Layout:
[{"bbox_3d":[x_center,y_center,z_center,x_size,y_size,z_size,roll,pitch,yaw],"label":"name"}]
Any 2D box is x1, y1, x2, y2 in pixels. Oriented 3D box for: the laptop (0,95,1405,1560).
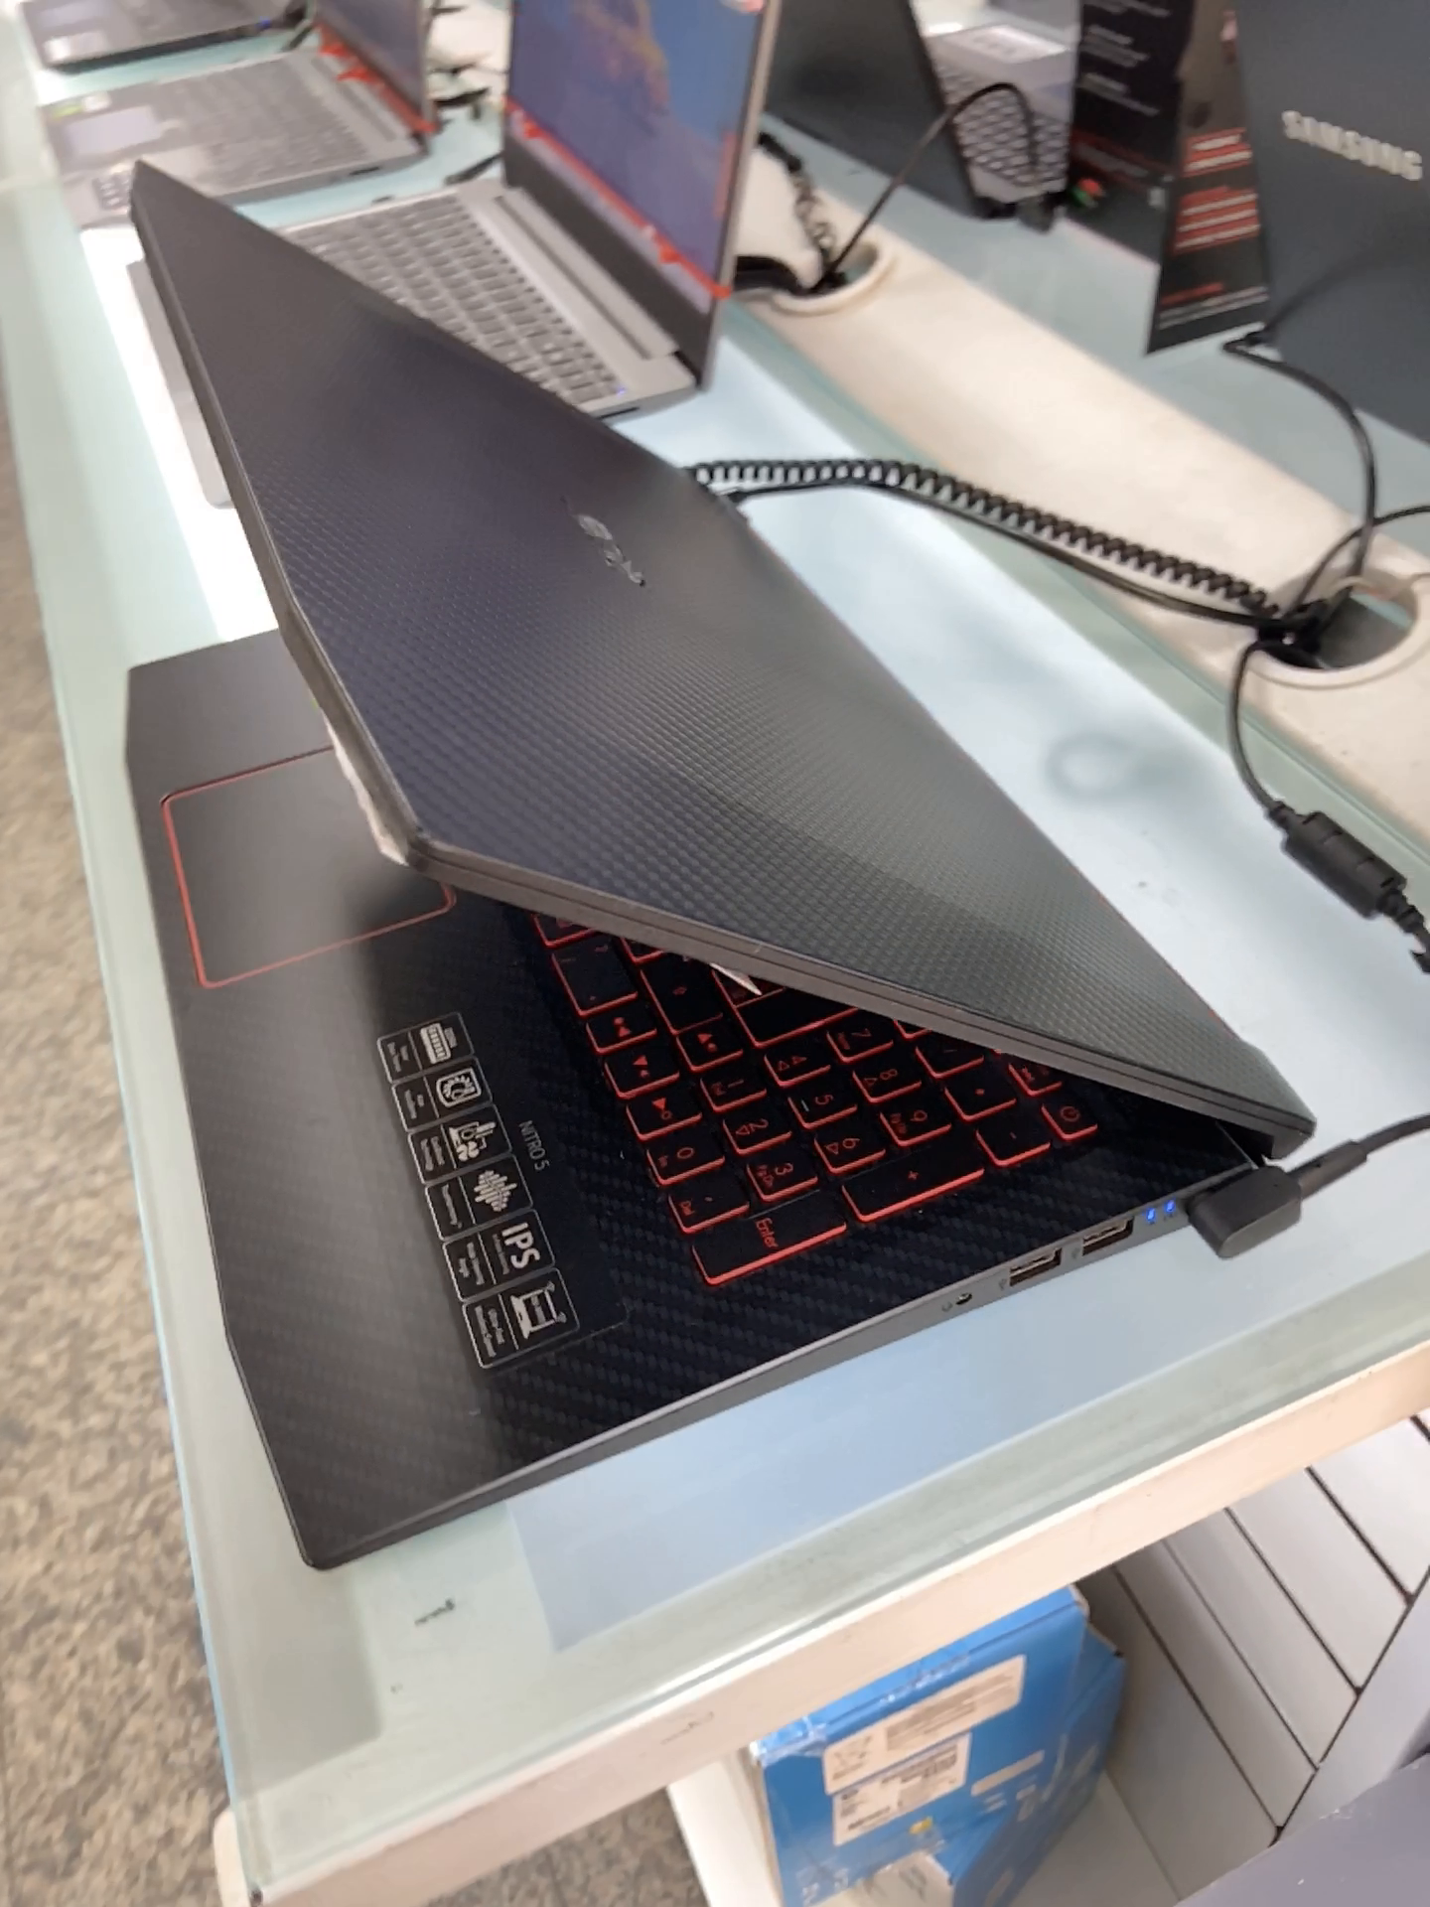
[{"bbox_3d":[-0.055,-0.087,0.412,0.234,0.163,0.381,-19,44,-12],"label":"laptop"}]
